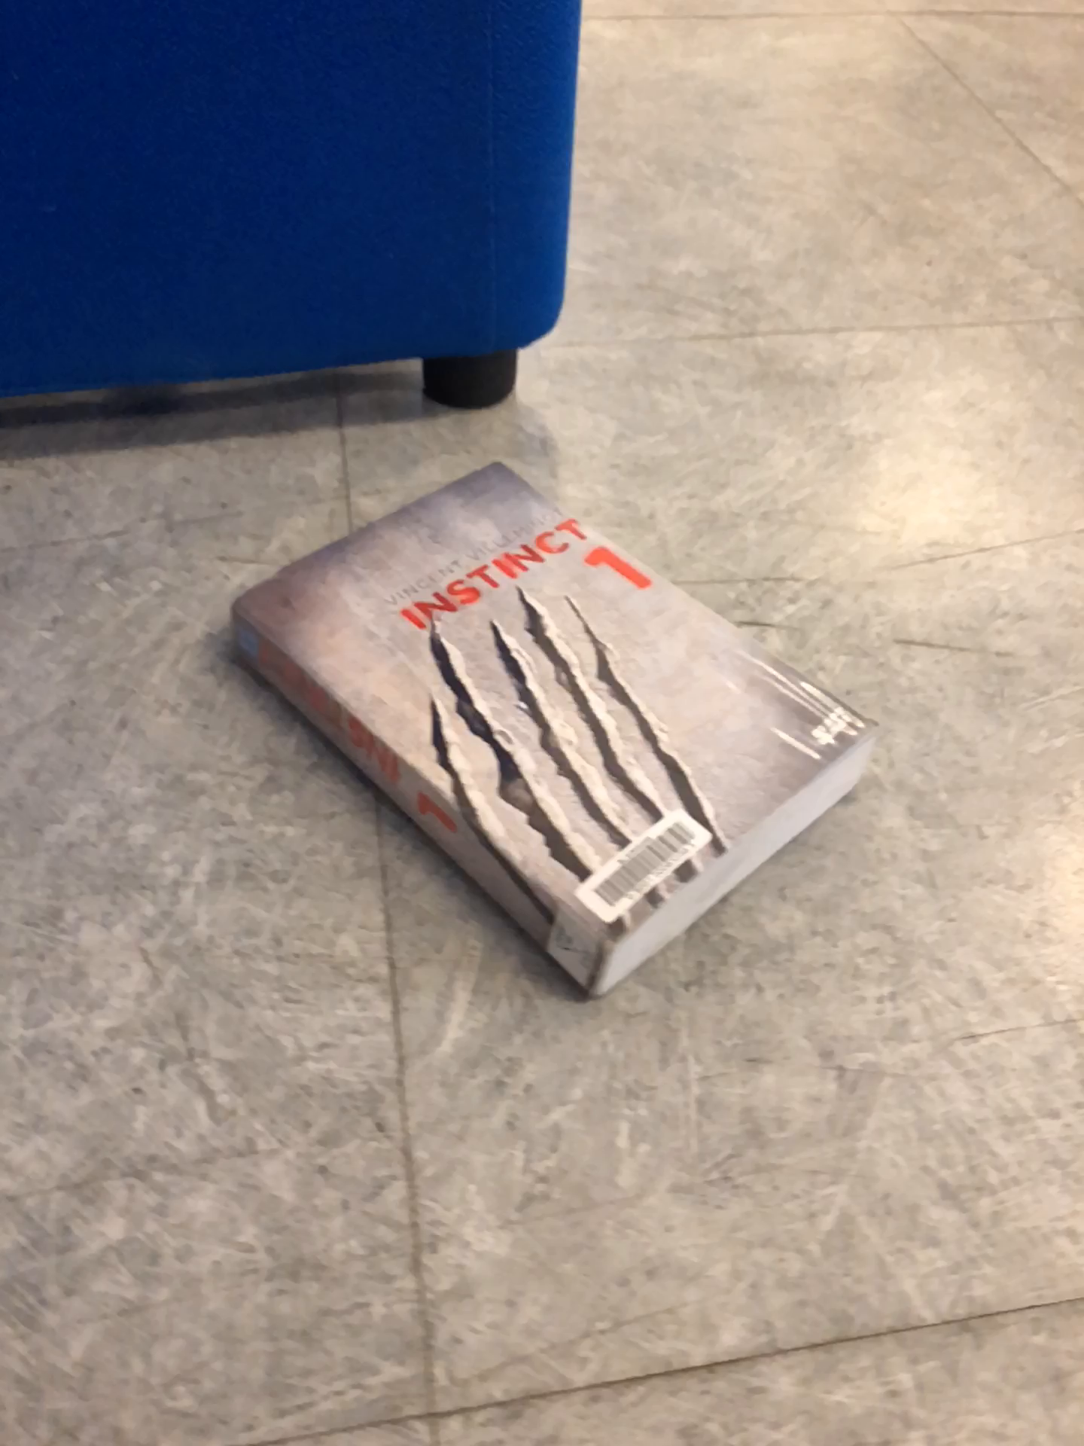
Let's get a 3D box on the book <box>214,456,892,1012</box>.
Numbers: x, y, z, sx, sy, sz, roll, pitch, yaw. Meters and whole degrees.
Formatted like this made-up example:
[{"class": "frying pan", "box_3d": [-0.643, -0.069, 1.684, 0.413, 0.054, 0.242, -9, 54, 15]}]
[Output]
[{"class": "book", "box_3d": [-0.001, -0.013, 0.446, 0.143, 0.028, 0.210, -33, 58, -29]}]
